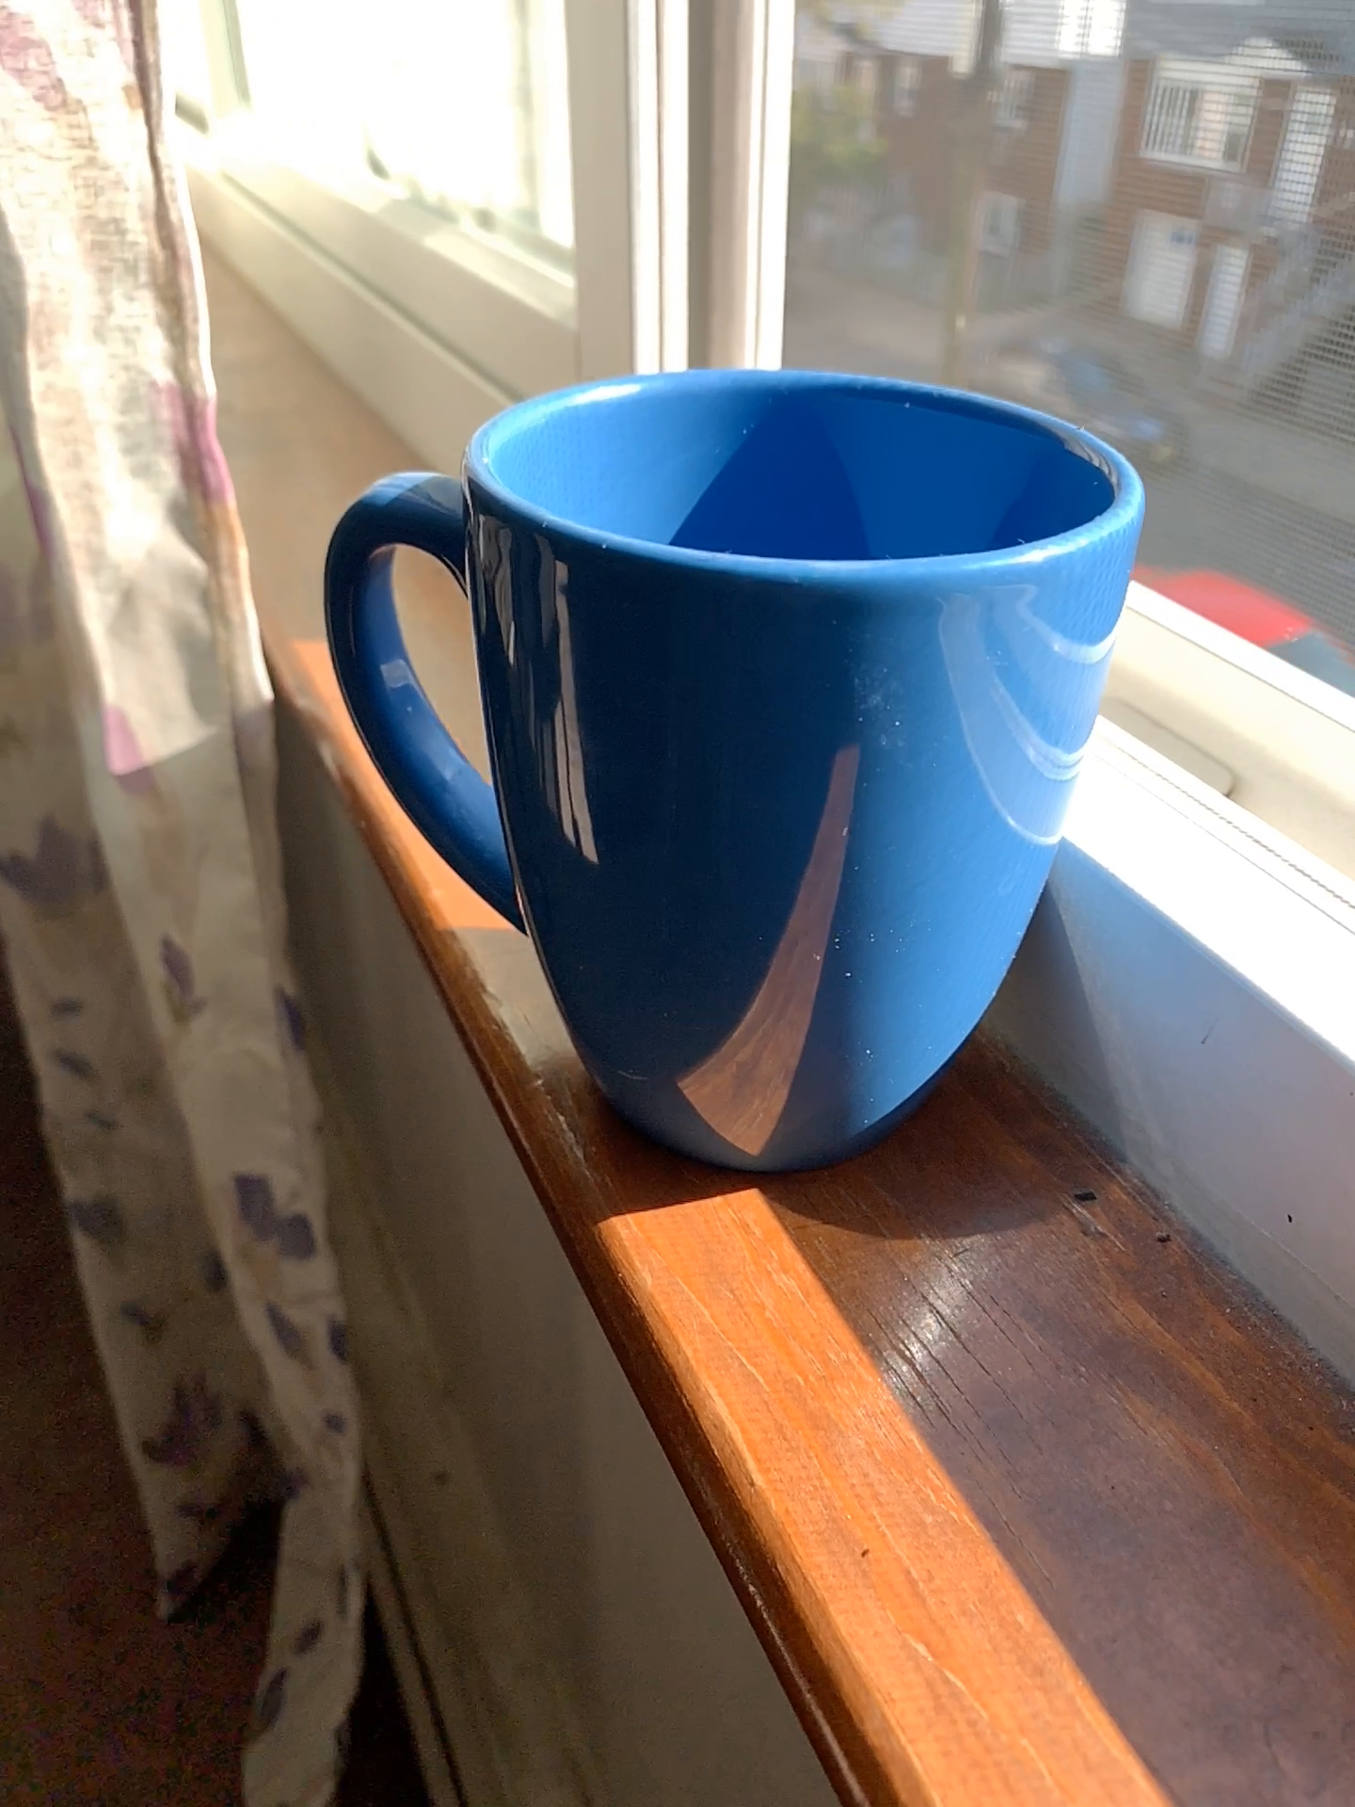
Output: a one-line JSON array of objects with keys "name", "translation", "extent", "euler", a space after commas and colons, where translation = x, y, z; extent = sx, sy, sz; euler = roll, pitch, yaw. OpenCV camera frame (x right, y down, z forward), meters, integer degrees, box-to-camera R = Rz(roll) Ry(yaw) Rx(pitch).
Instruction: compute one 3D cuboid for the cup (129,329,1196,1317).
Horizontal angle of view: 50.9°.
[{"name": "cup", "translation": [0.002, -0.020, 0.210], "extent": [0.113, 0.095, 0.082], "euler": [15, 37, 21]}]
